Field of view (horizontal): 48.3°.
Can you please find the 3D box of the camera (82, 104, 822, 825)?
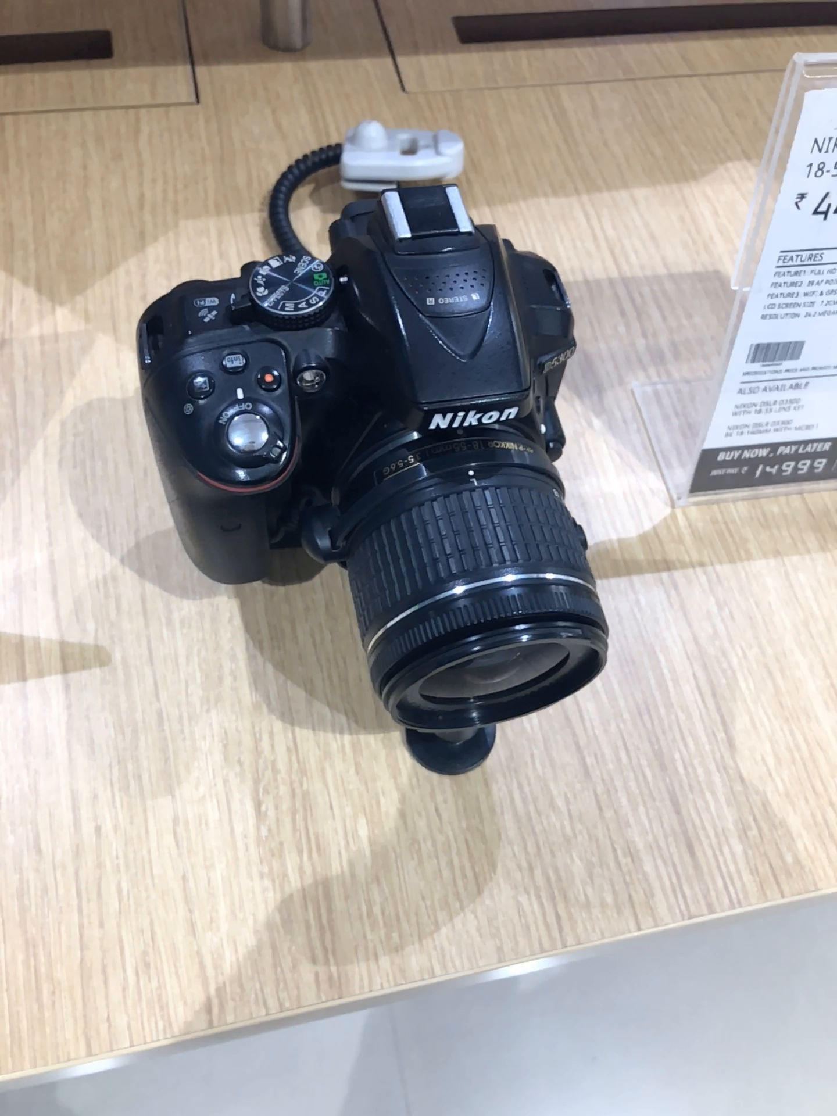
[{"bbox_3d":[-0.005,-0.029,0.232,0.130,0.070,0.150,-8,62,-10],"label":"camera"}]
